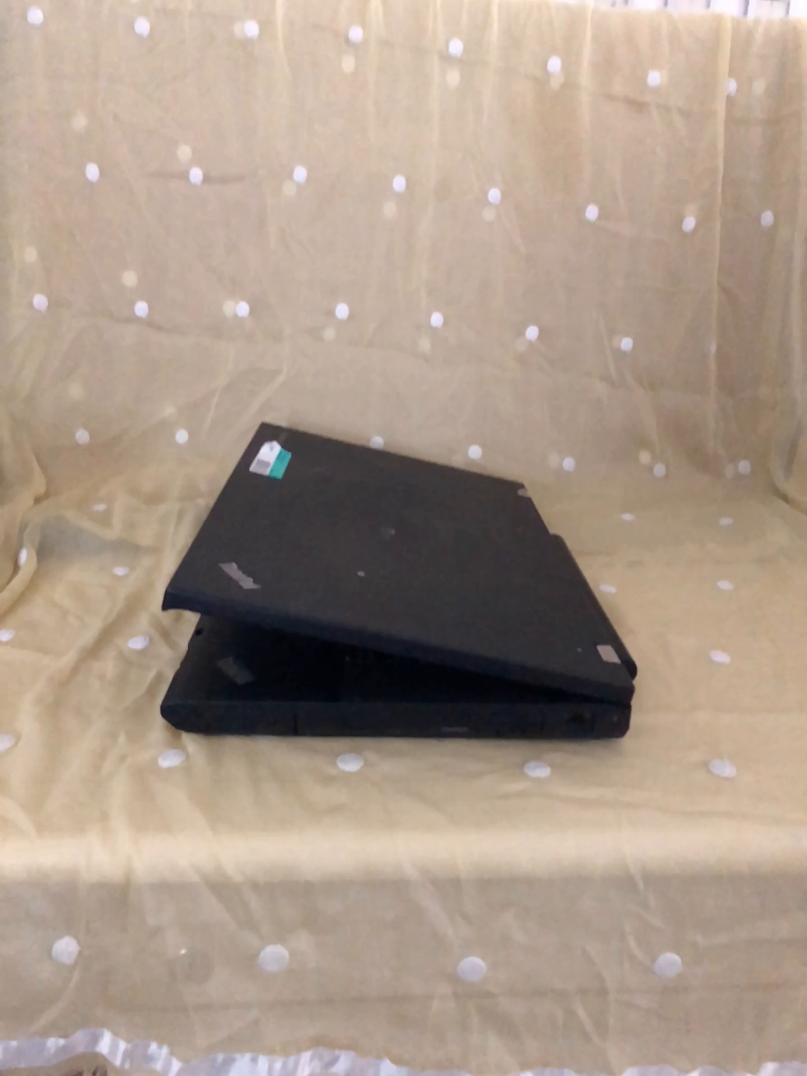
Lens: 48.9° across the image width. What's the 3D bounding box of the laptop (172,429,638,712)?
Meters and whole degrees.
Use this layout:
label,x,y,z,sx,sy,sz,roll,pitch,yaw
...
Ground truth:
label,x,y,z,sx,sy,sz,roll,pitch,yaw
laptop,-0.005,-0.004,0.603,0.225,0.050,0.357,1,21,0
